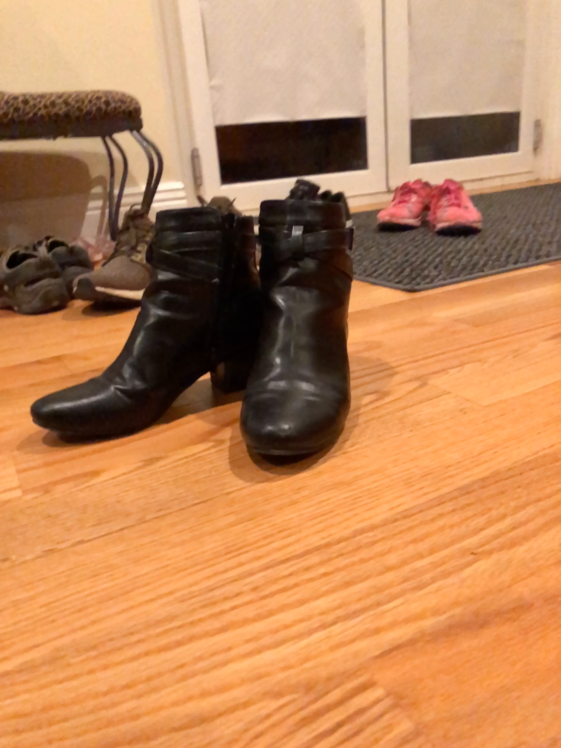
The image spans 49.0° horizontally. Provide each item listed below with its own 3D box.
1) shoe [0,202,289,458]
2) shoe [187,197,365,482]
[{"bbox_3d":[-0.119,-0.052,0.552,0.226,0.172,0.090,-15,21,-28],"label":"shoe"},{"bbox_3d":[0.014,-0.045,0.508,0.090,0.172,0.227,-1,19,12],"label":"shoe"}]
